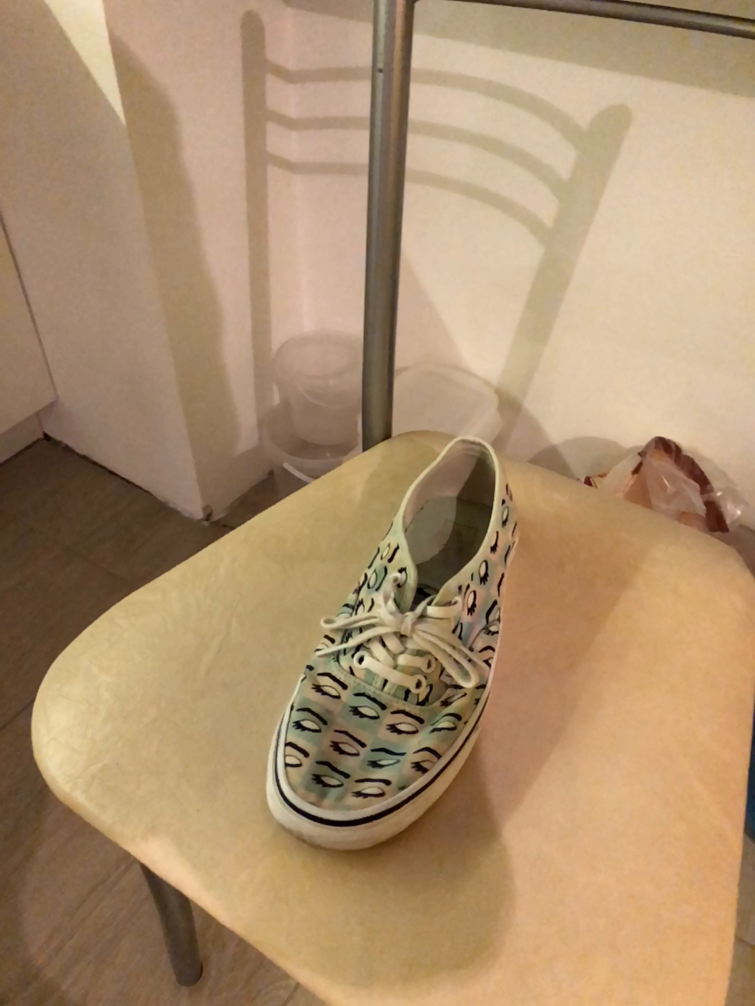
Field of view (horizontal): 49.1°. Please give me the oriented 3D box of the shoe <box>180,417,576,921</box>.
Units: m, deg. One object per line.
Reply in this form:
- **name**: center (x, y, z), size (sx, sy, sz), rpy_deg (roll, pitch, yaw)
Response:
- **shoe**: center (0.017, 0.067, 0.454), size (0.110, 0.068, 0.262), rpy_deg (17, 46, 17)
